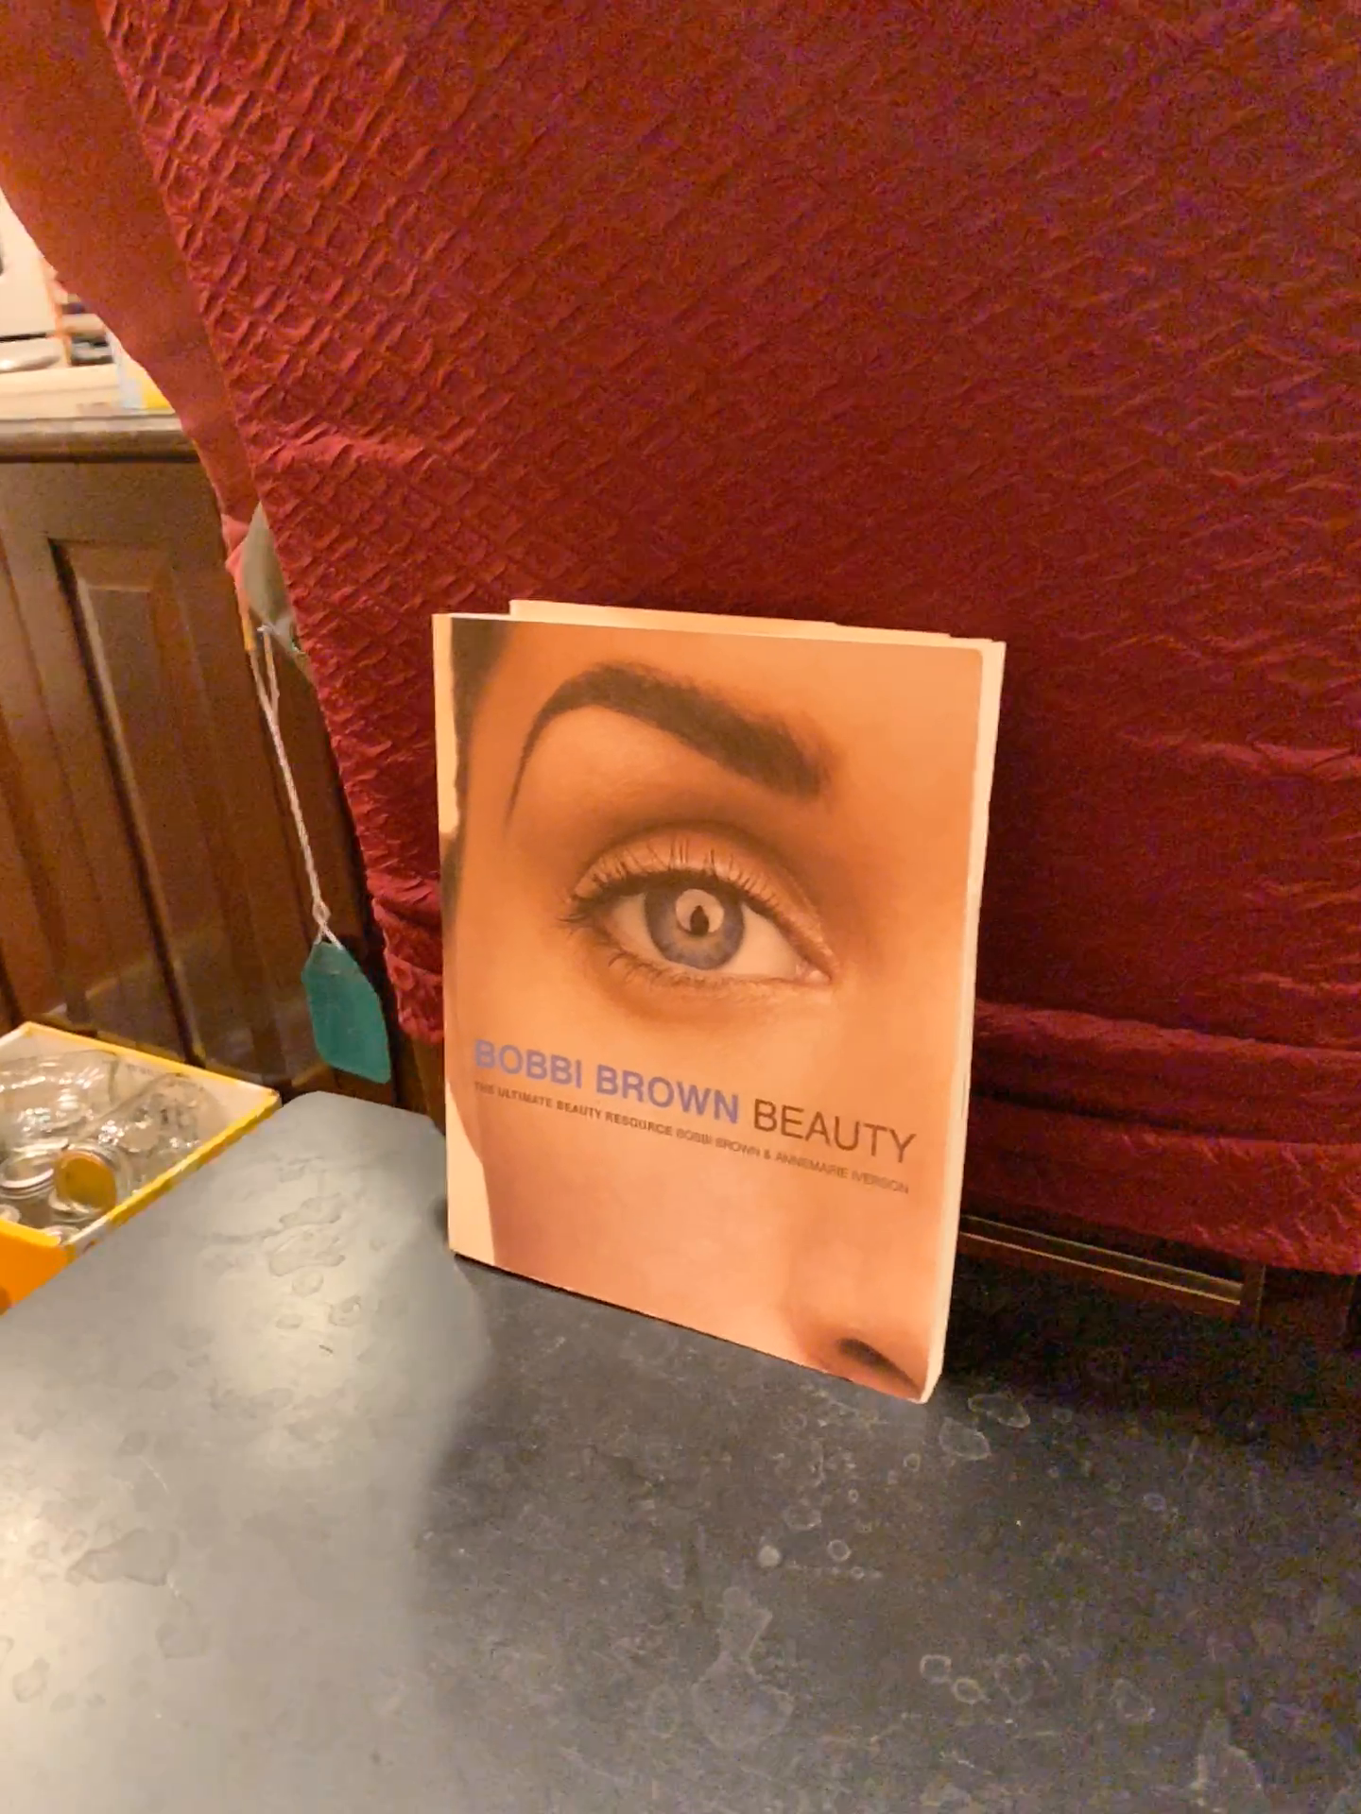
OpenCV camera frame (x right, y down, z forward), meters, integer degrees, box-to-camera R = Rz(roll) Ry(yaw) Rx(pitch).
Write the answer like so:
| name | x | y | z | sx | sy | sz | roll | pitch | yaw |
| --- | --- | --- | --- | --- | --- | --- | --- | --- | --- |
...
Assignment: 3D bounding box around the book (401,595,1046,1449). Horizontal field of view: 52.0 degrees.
| name | x | y | z | sx | sy | sz | roll | pitch | yaw |
| --- | --- | --- | --- | --- | --- | --- | --- | --- | --- |
| book | 0.003 | 0.027 | 0.443 | 0.200 | 0.239 | 0.030 | 9 | 17 | 29 |
